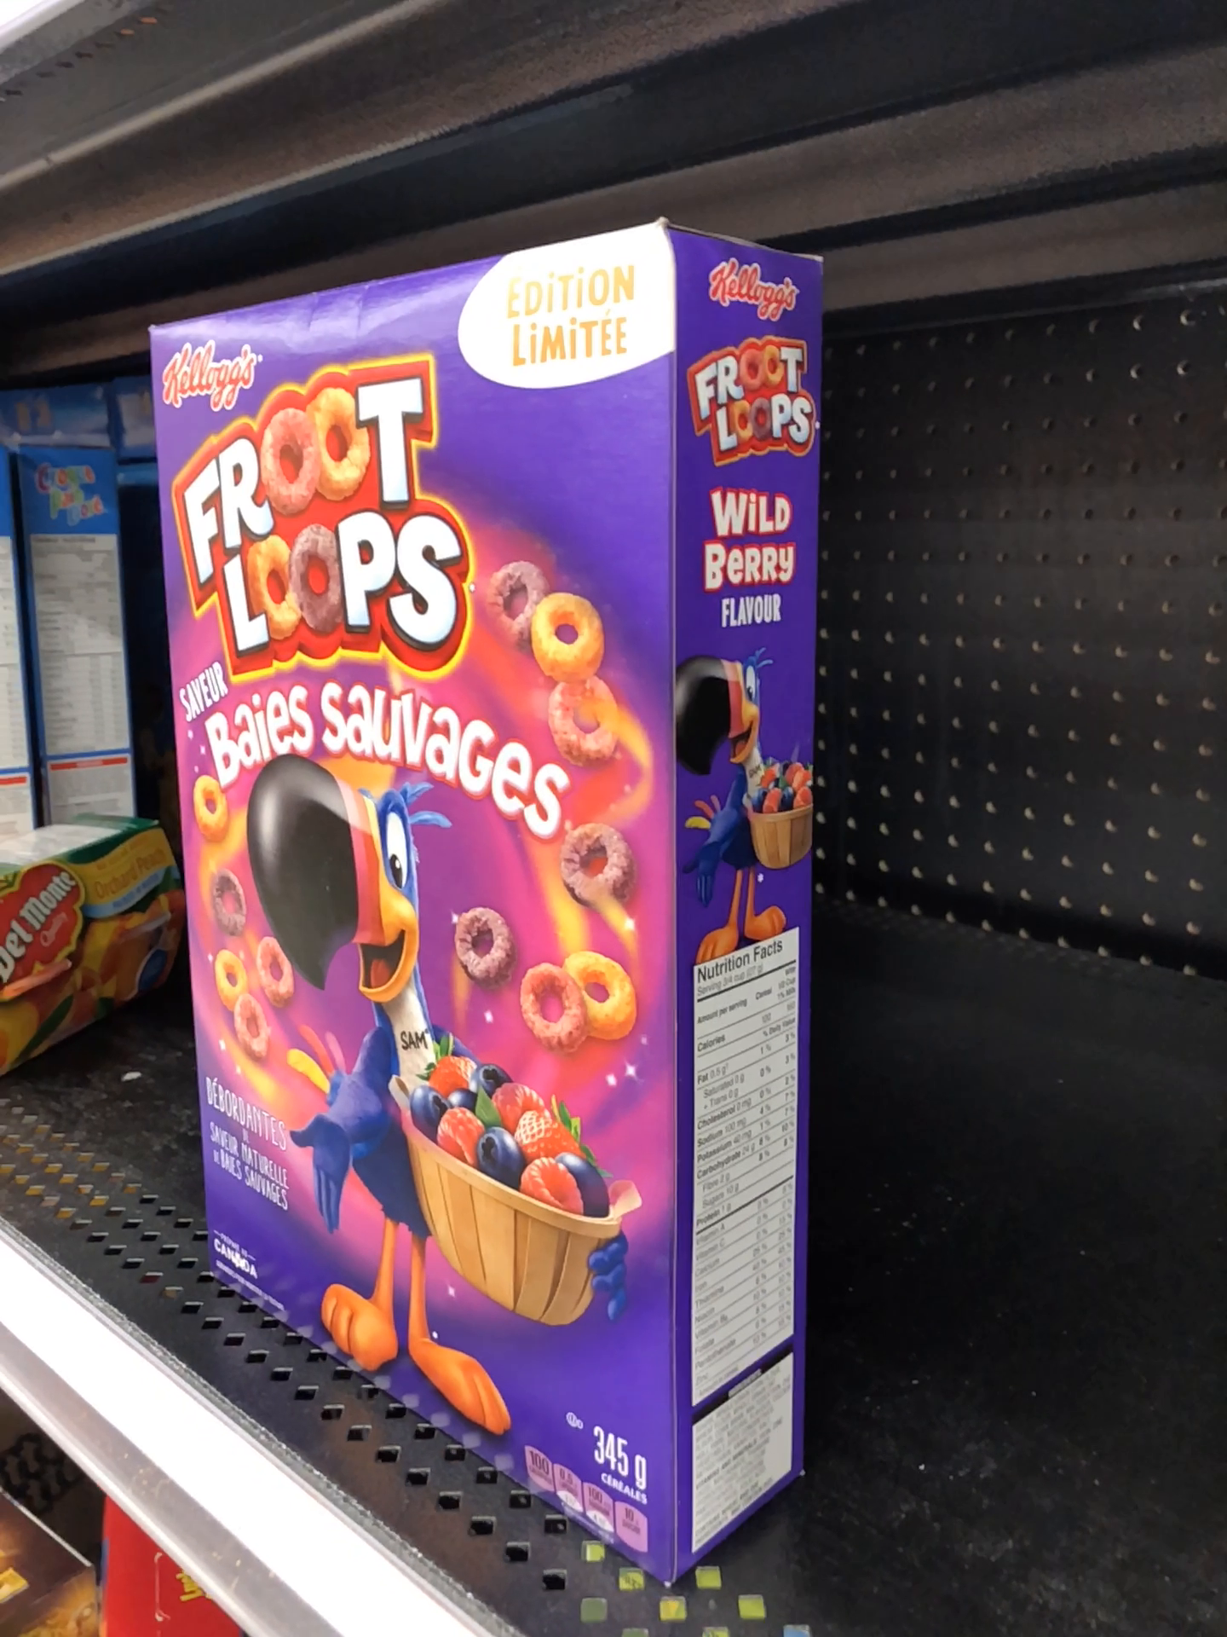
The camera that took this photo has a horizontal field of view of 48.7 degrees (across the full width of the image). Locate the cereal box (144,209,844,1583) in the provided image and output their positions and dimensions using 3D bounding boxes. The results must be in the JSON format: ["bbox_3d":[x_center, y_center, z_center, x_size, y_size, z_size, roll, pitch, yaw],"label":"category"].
[{"bbox_3d":[-0.042,0.011,0.367,0.210,0.289,0.050,10,16,44],"label":"cereal box"}]
